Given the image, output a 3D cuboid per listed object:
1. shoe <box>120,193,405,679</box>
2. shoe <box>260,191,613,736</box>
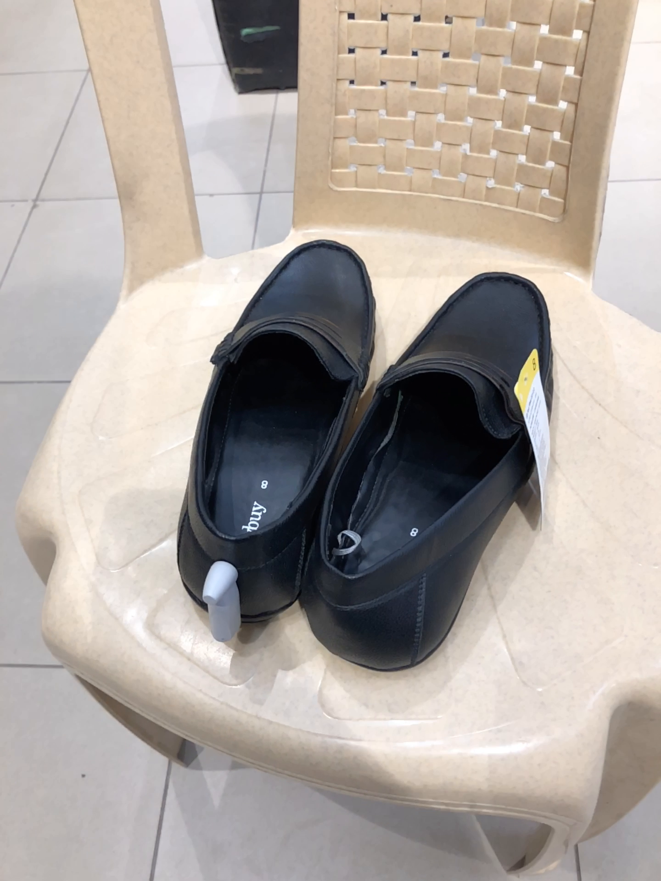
[{"bbox_3d":[-0.020,-0.017,0.430,0.100,0.088,0.276,5,58,9],"label":"shoe"},{"bbox_3d":[0.071,-0.004,0.406,0.100,0.088,0.283,16,60,15],"label":"shoe"}]
